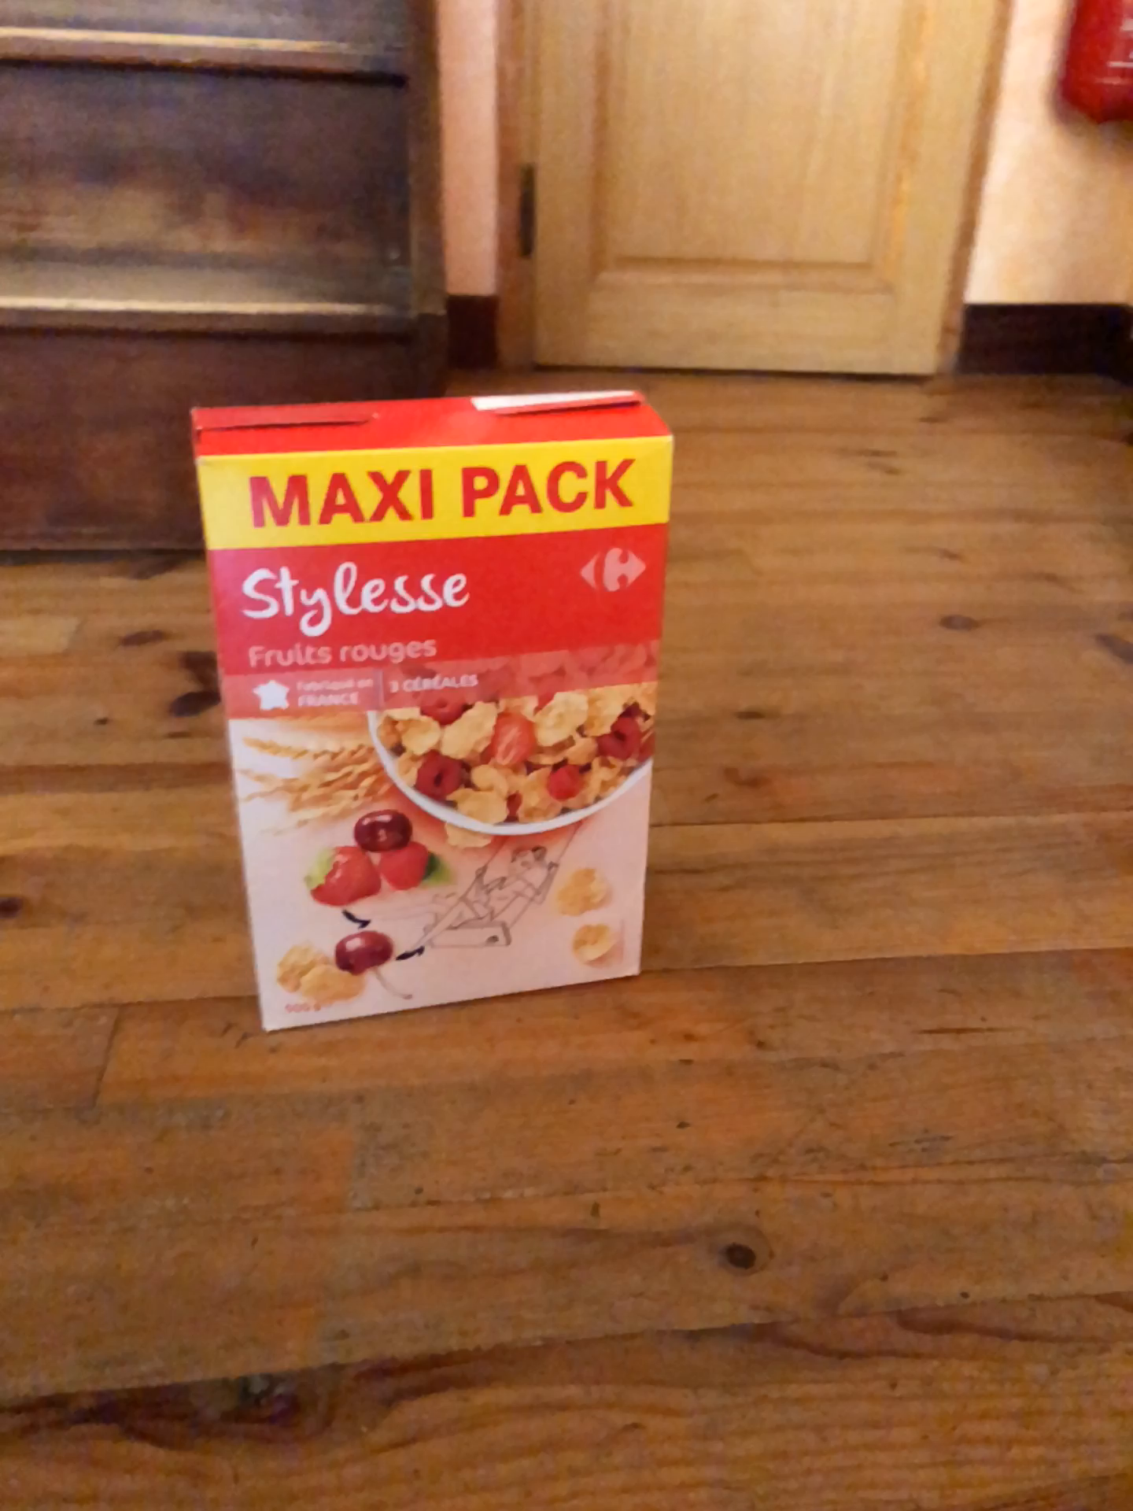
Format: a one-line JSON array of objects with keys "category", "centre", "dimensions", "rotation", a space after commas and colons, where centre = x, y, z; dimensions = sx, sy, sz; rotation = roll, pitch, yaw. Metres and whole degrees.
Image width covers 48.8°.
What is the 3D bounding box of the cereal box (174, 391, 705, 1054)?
[{"category": "cereal box", "centre": [-0.060, -0.015, 0.597], "dimensions": [0.210, 0.288, 0.090], "rotation": [-6, 29, -14]}]
